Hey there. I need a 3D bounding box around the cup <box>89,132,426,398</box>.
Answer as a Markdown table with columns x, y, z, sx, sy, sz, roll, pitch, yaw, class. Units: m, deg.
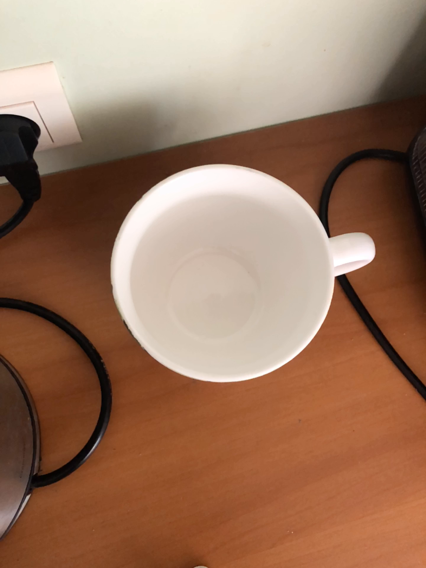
| x | y | z | sx | sy | sz | roll | pitch | yaw | class |
| --- | --- | --- | --- | --- | --- | --- | --- | --- | --- |
| 0.026 | -0.008 | 0.282 | 0.170 | 0.070 | 0.120 | -9 | 77 | -6 | cup |
